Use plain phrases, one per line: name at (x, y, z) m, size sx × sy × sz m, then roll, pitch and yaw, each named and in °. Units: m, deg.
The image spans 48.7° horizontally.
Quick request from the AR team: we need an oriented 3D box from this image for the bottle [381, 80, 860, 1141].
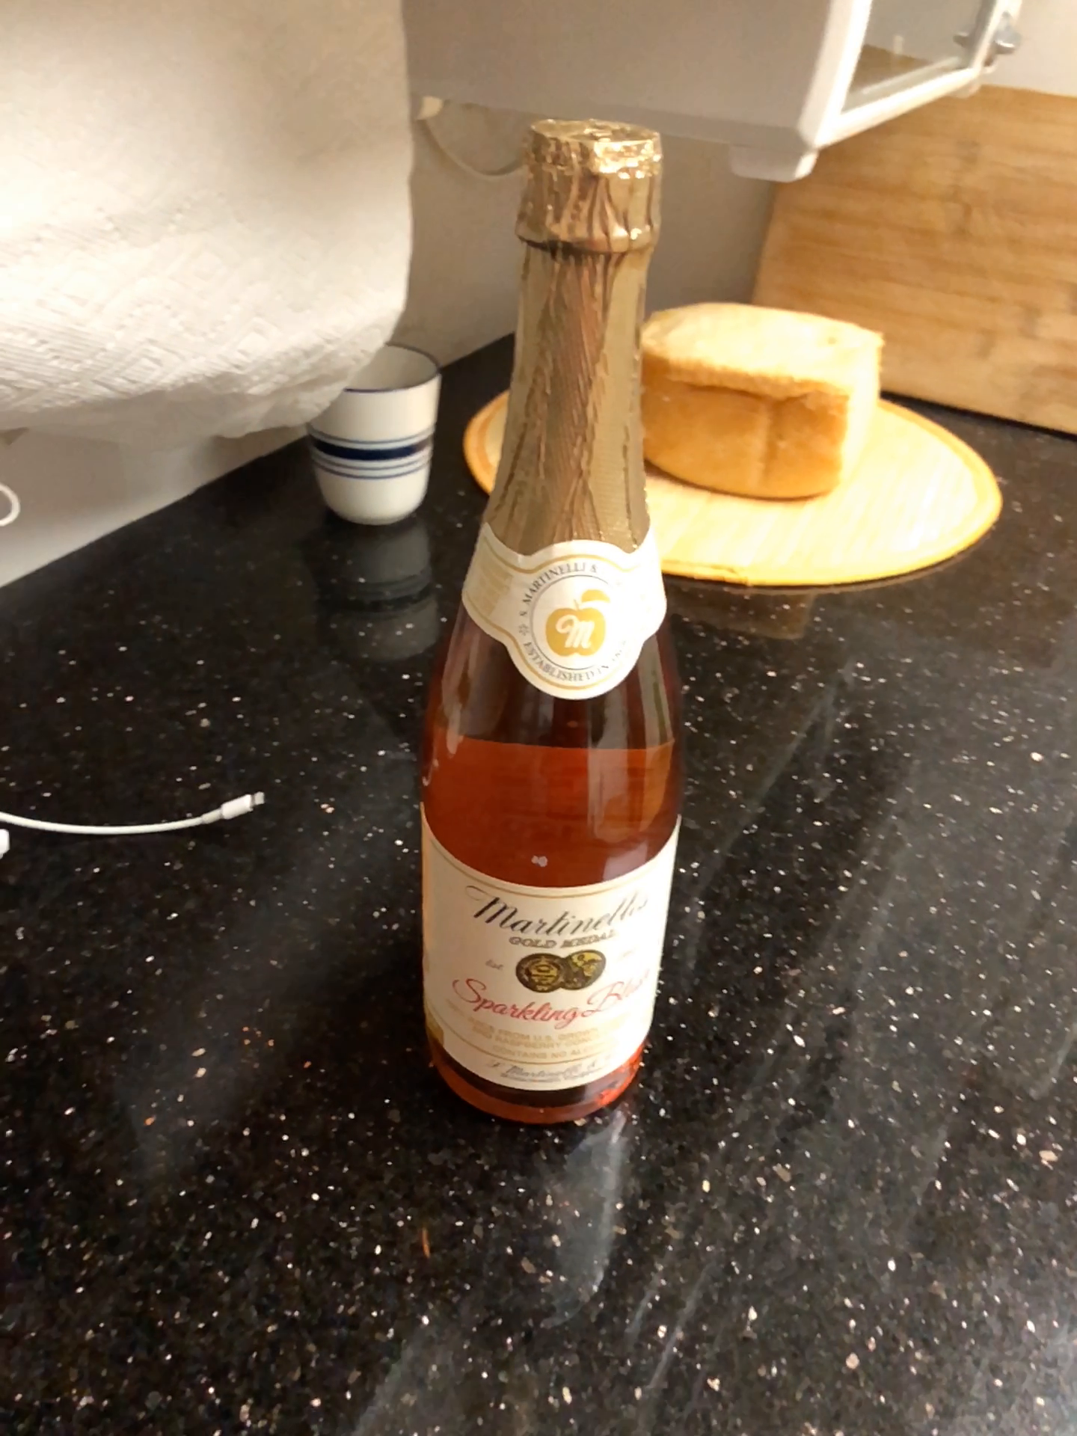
bottle at (0.008, -0.009, 0.345) m, size 0.090 × 0.298 × 0.091 m, roll 2°, pitch 35°, yaw -1°
